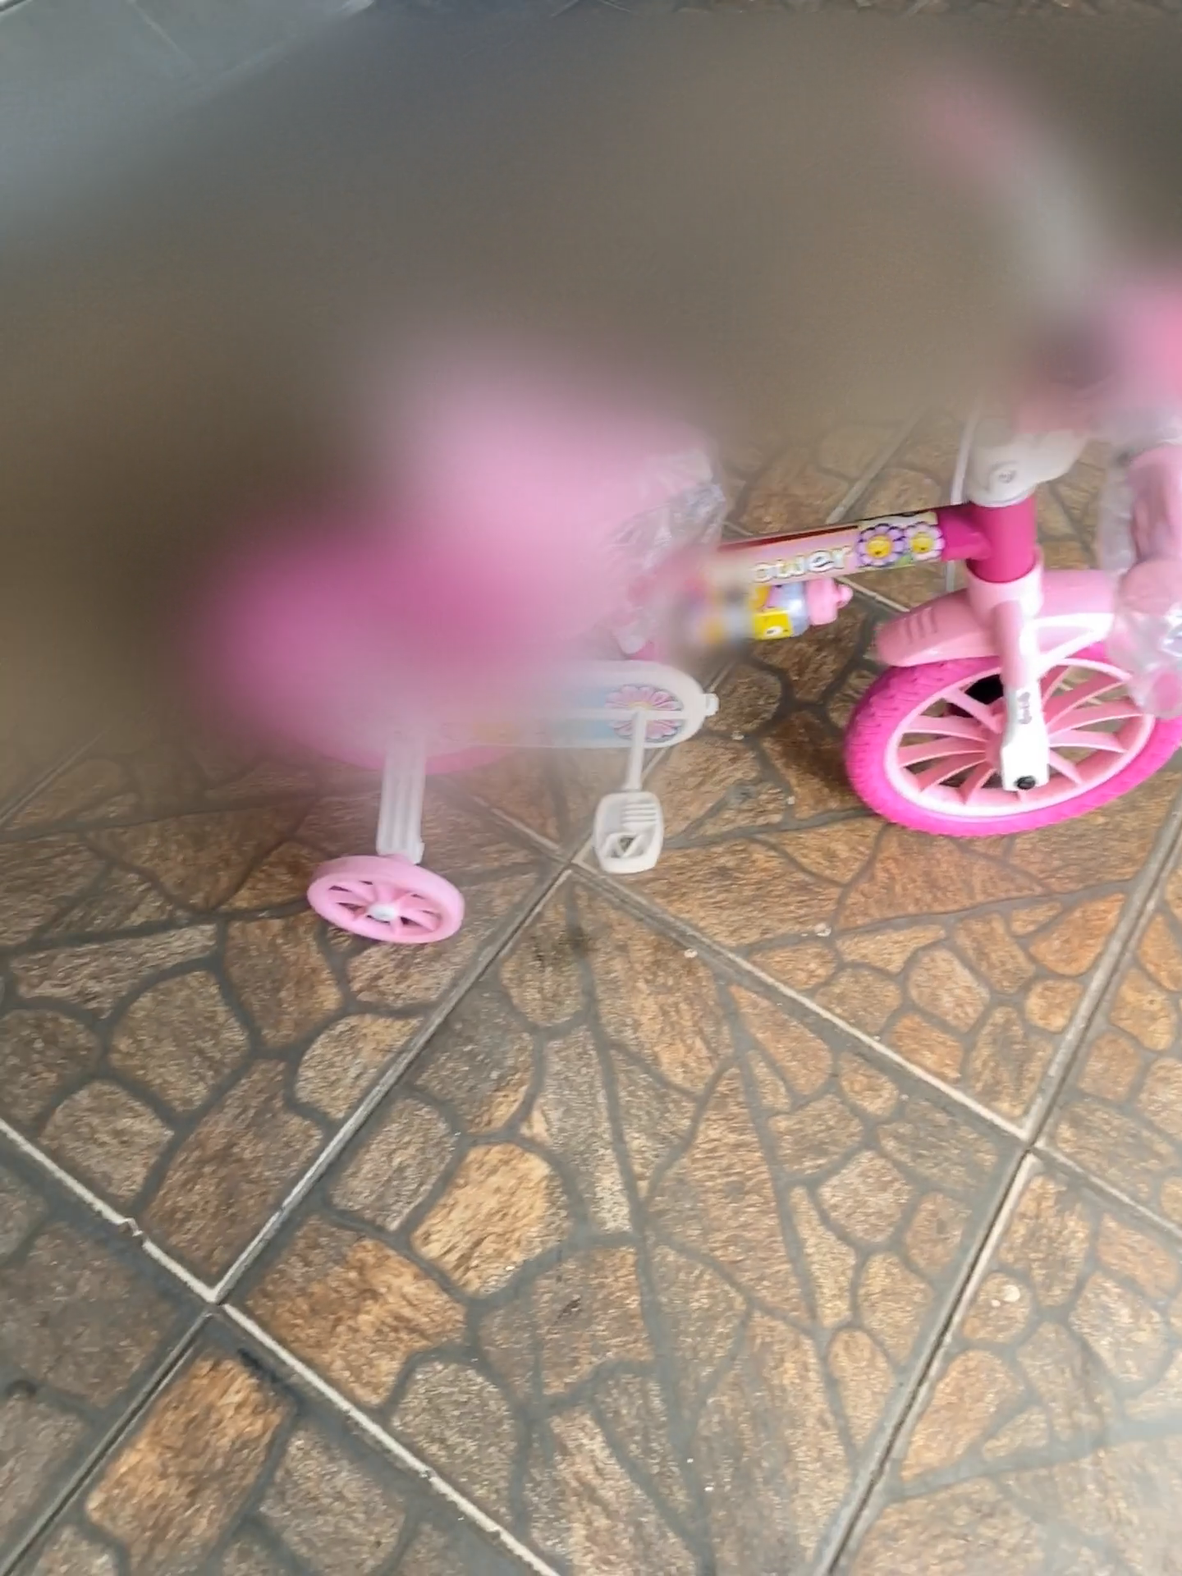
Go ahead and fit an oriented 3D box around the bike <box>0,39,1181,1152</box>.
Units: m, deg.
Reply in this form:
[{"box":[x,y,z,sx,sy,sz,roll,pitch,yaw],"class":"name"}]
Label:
[{"box":[0.078,-0.114,0.910,0.791,0.563,0.513,5,56,3],"class":"bike"}]
